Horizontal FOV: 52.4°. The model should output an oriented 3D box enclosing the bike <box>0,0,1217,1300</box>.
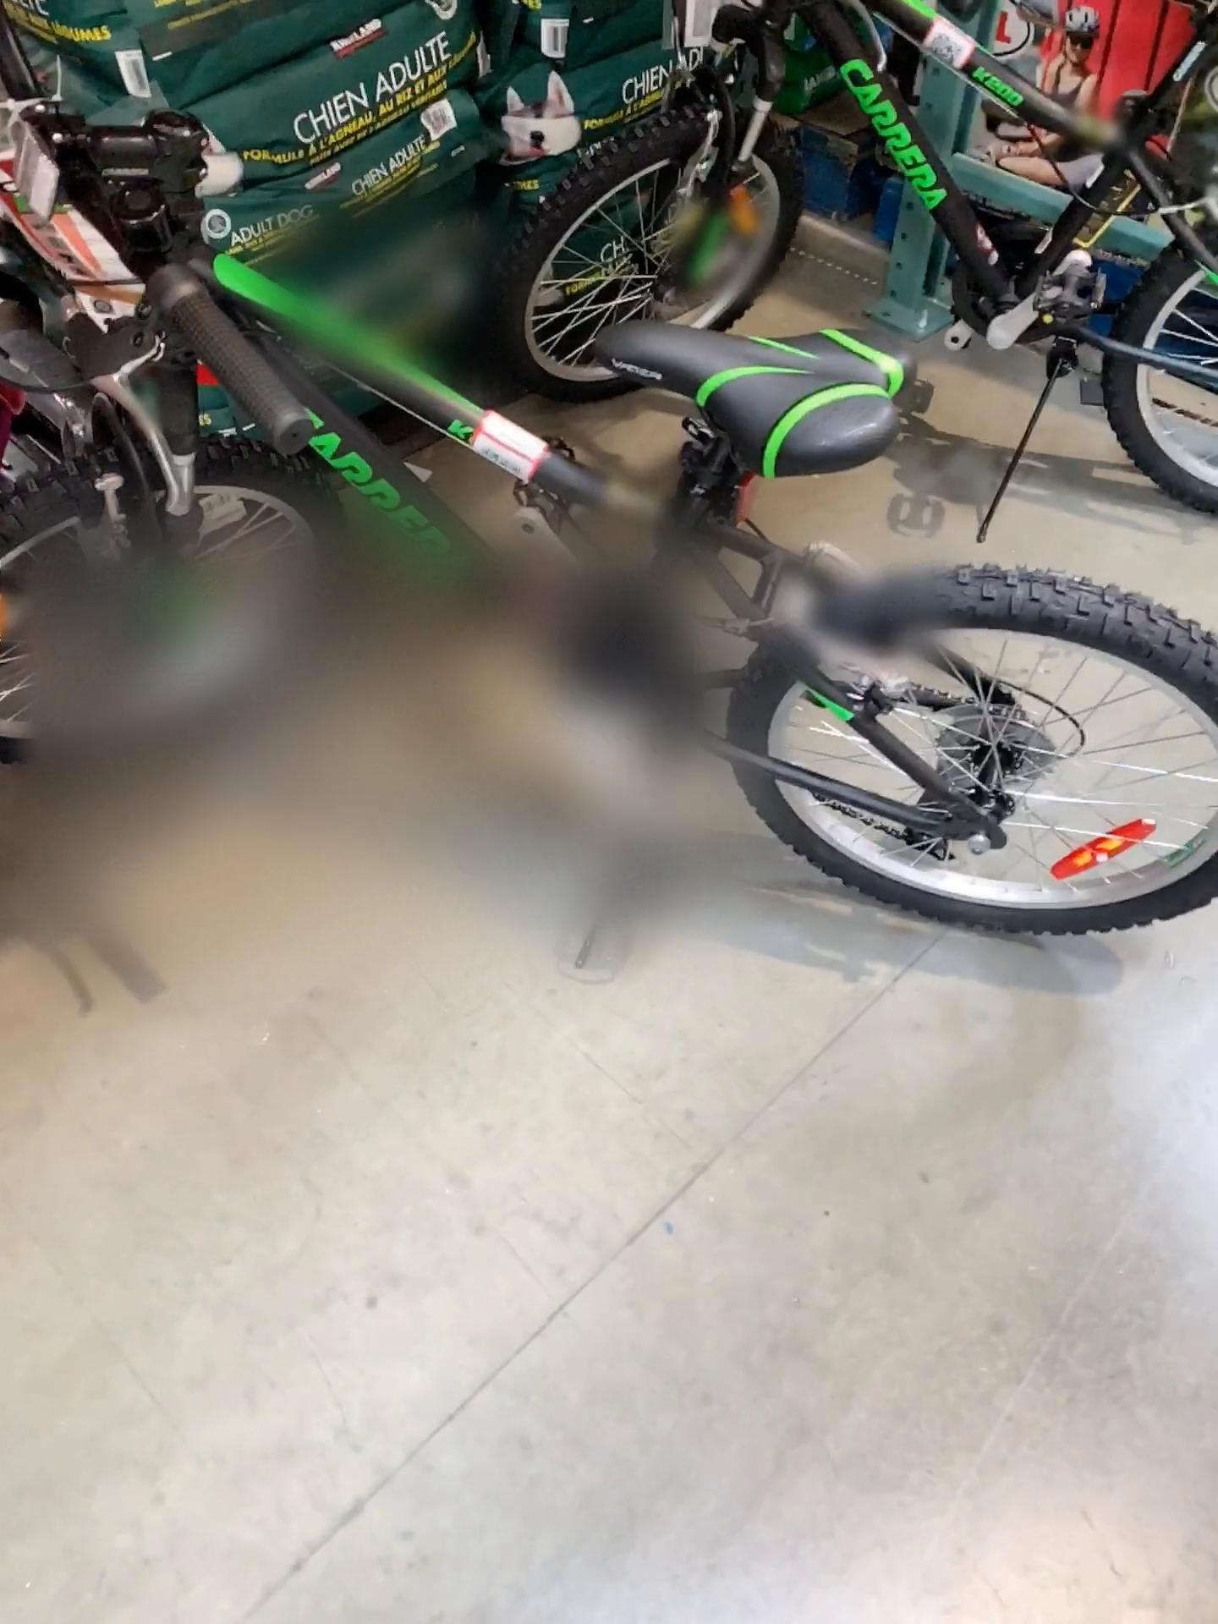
[{"bbox_3d":[-0.051,-0.164,1.010,1.304,0.856,0.711,7,51,4],"label":"bike"}]
